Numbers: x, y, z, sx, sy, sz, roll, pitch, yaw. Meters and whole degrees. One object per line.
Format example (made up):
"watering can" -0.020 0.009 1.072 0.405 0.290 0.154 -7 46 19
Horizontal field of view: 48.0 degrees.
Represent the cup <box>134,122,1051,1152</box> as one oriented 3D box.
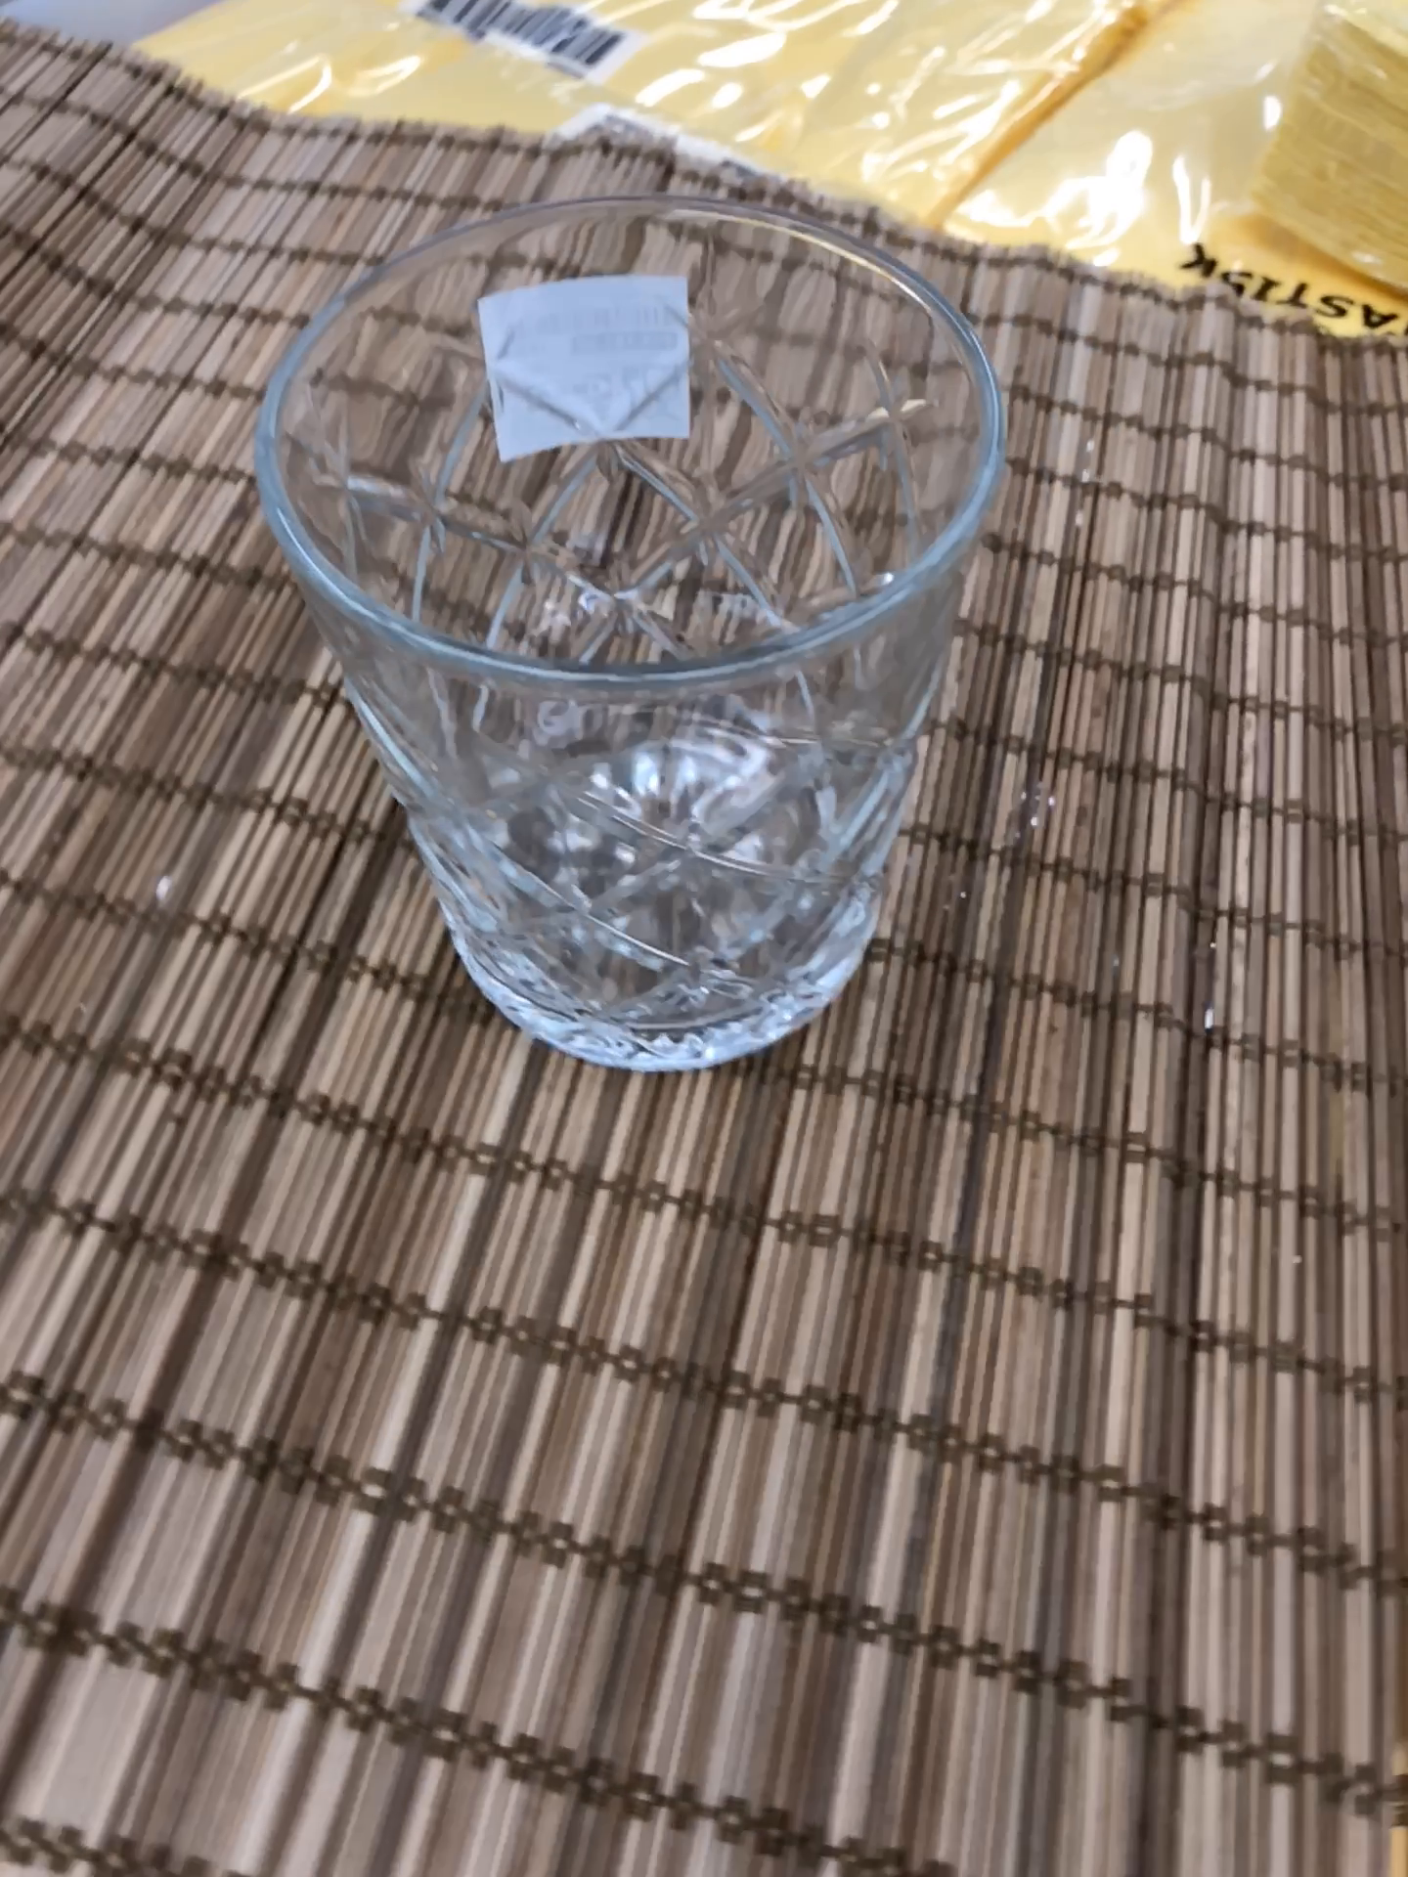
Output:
"cup" -0.009 -0.034 0.197 0.080 0.090 0.080 1 53 -2
